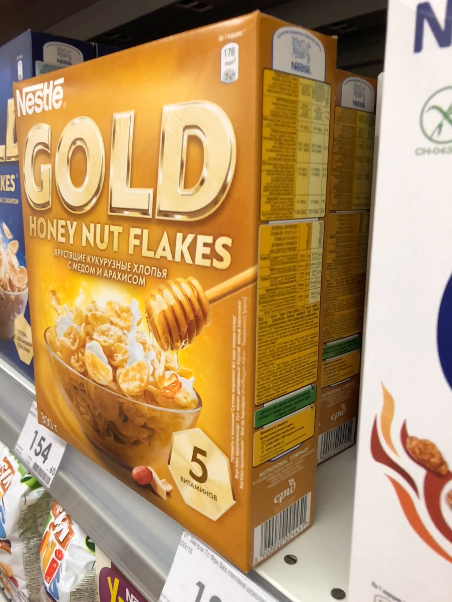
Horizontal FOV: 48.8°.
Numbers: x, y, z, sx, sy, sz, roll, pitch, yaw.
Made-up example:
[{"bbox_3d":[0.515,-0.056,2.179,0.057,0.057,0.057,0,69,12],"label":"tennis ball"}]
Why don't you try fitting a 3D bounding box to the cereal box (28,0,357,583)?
[{"bbox_3d":[-0.035,-0.010,0.267,0.050,0.219,0.190,-10,16,-44],"label":"cereal box"}]
